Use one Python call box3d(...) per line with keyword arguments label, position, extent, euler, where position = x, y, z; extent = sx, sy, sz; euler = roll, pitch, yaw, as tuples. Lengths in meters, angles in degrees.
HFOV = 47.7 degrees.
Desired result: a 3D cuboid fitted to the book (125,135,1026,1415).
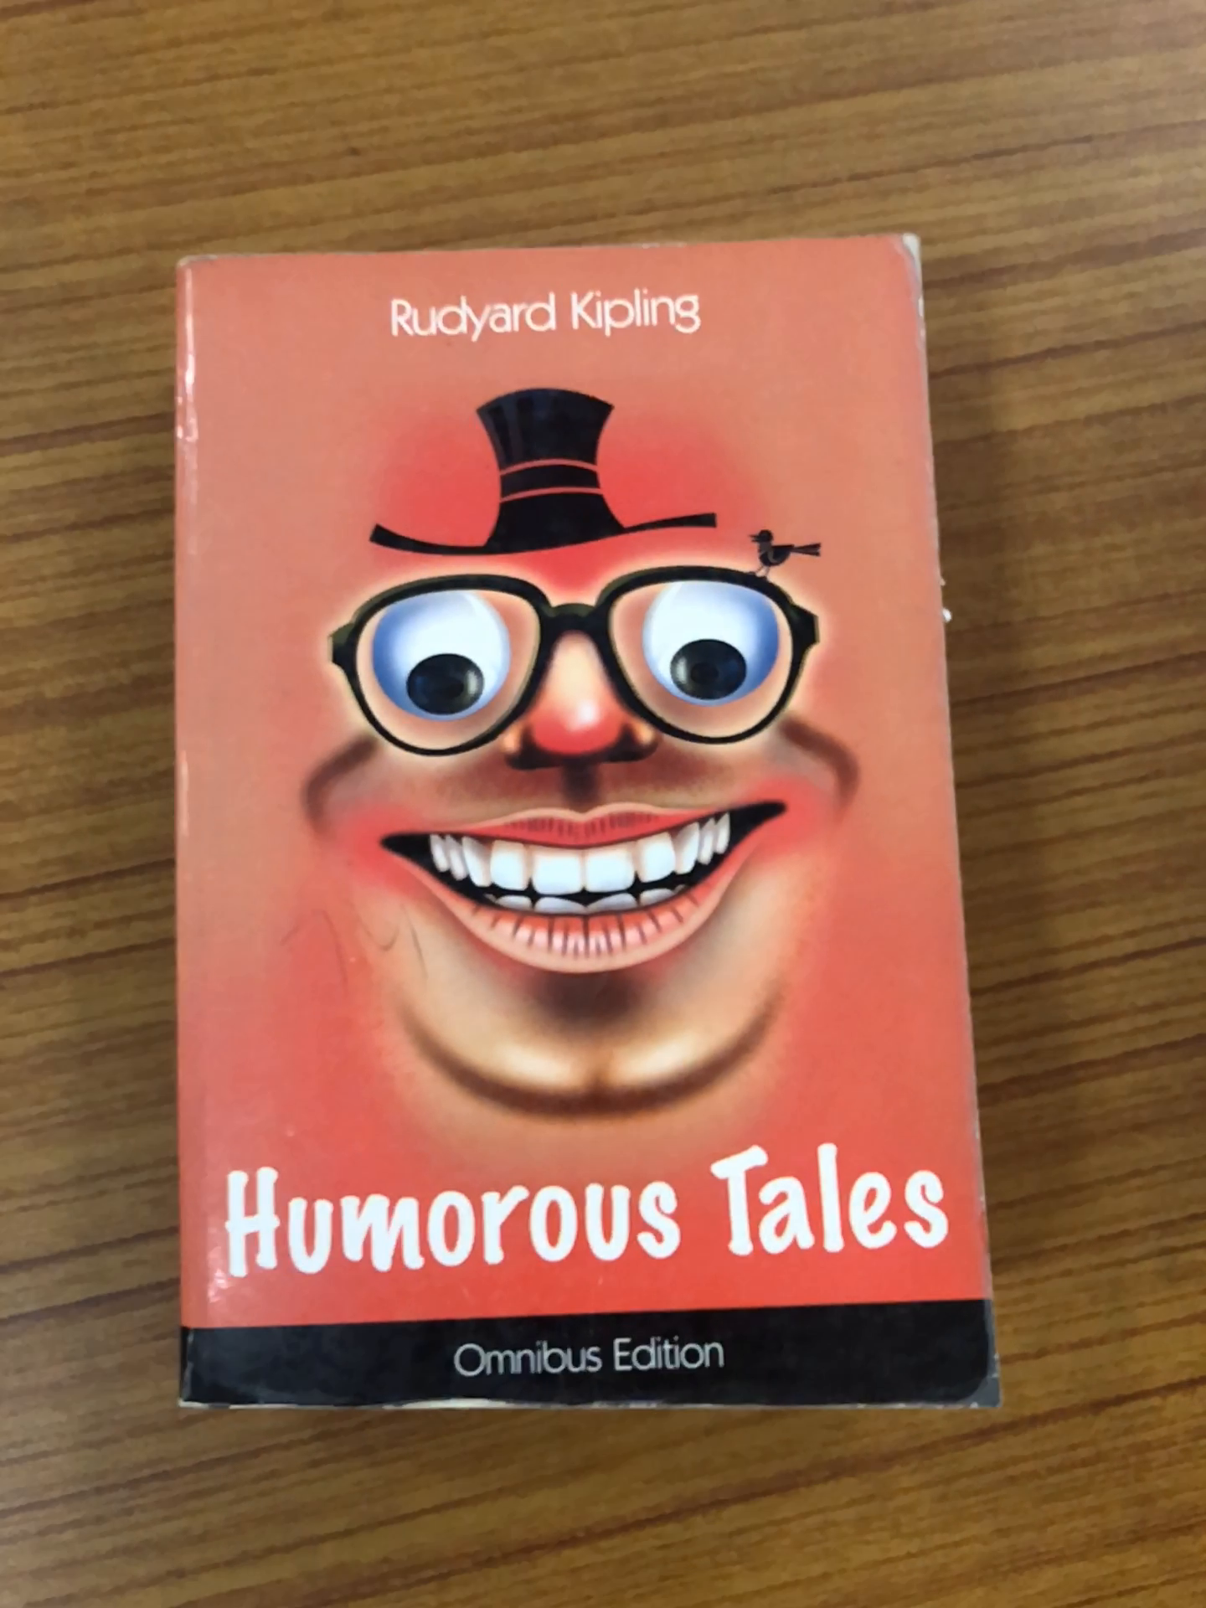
box3d(label="book", position=(-0.009, -0.005, 0.228), extent=(0.130, 0.040, 0.190), euler=(-4, 82, 5))
